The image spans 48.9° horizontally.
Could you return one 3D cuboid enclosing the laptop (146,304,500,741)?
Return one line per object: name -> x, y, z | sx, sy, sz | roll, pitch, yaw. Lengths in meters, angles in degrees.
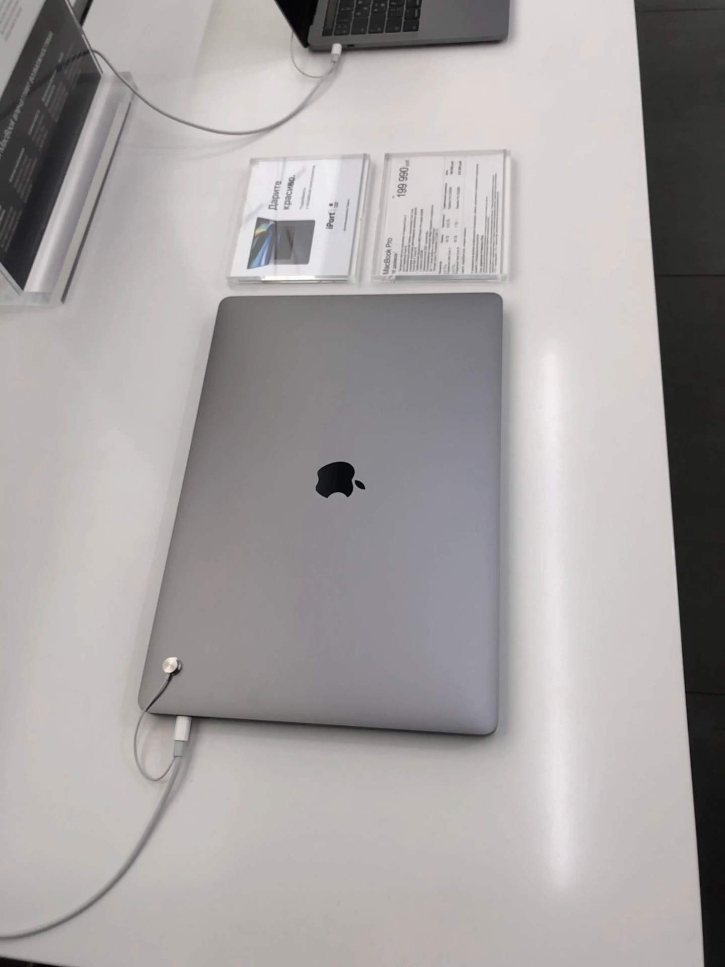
laptop -> -0.016, 0.005, 0.593 | 0.231, 0.003, 0.345 | 1, 63, 8
